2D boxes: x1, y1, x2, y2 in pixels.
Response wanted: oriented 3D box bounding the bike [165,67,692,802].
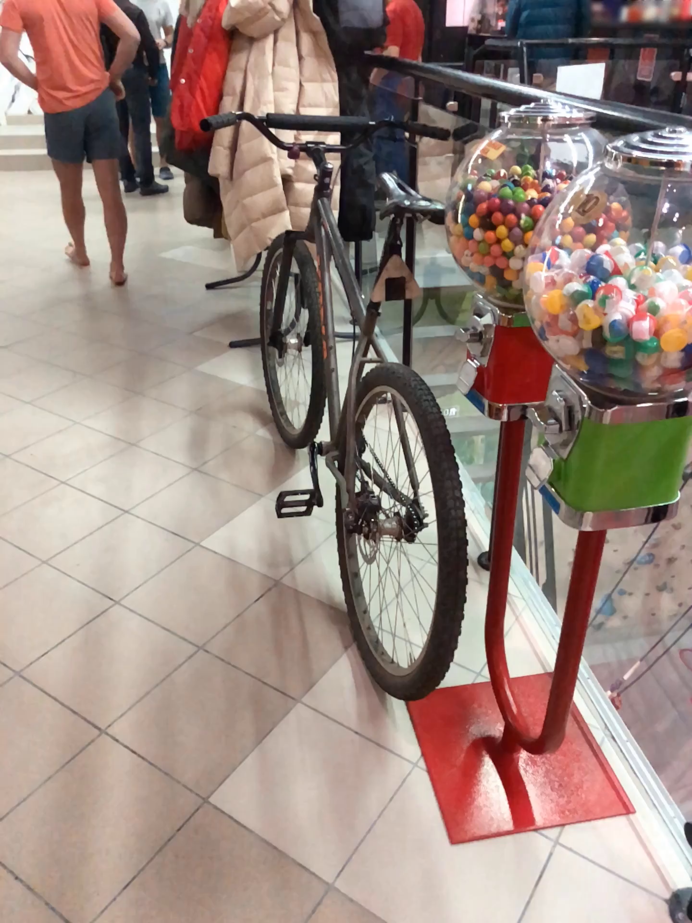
[{"bbox_3d":[0.017,-0.347,2.028,0.748,1.099,1.832,-8,32,-13],"label":"bike"}]
